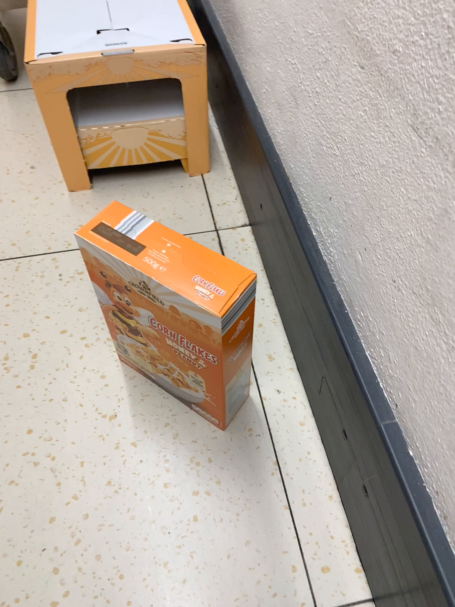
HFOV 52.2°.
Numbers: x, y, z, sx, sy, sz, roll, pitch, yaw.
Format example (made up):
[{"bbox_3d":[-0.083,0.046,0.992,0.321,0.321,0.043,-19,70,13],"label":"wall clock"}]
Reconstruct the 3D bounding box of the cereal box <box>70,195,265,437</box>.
[{"bbox_3d":[-0.065,0.028,0.576,0.201,0.268,0.070,30,57,22],"label":"cereal box"}]
